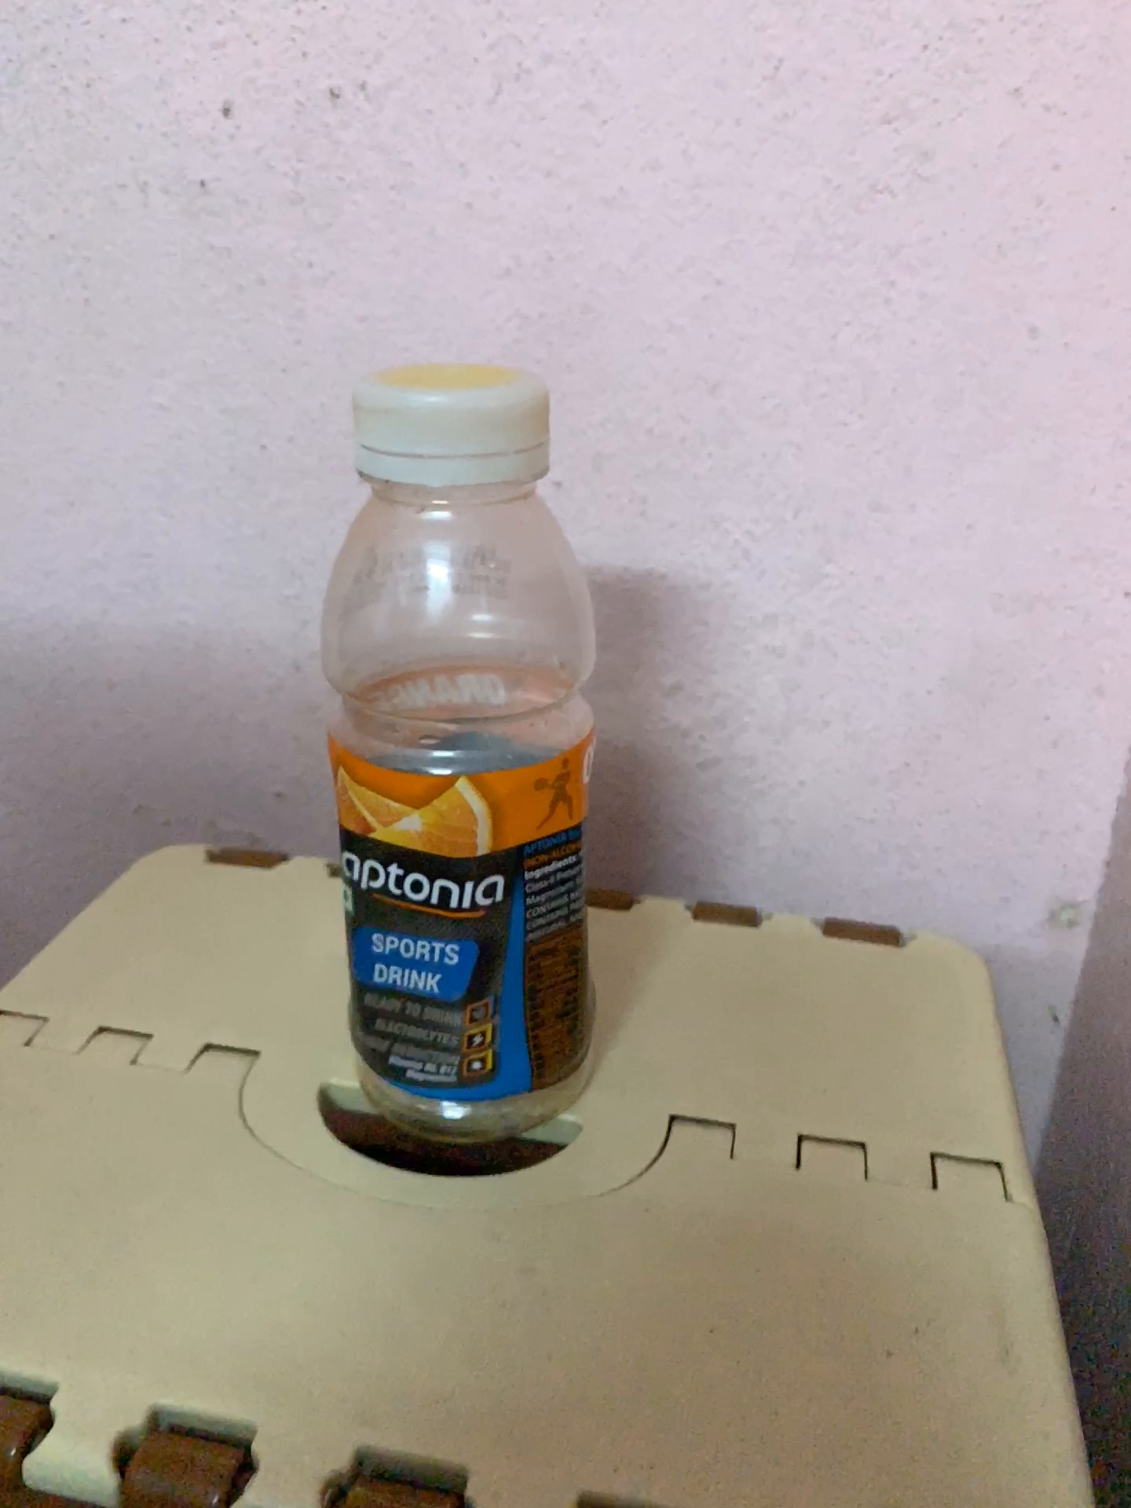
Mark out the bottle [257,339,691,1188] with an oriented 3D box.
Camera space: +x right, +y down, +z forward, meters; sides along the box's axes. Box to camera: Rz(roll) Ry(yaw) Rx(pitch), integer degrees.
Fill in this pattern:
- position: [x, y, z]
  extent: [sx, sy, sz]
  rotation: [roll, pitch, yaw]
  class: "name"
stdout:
- position: [-0.016, 0.003, 0.273]
  extent: [0.070, 0.179, 0.060]
  rotation: [7, 26, 14]
  class: "bottle"
